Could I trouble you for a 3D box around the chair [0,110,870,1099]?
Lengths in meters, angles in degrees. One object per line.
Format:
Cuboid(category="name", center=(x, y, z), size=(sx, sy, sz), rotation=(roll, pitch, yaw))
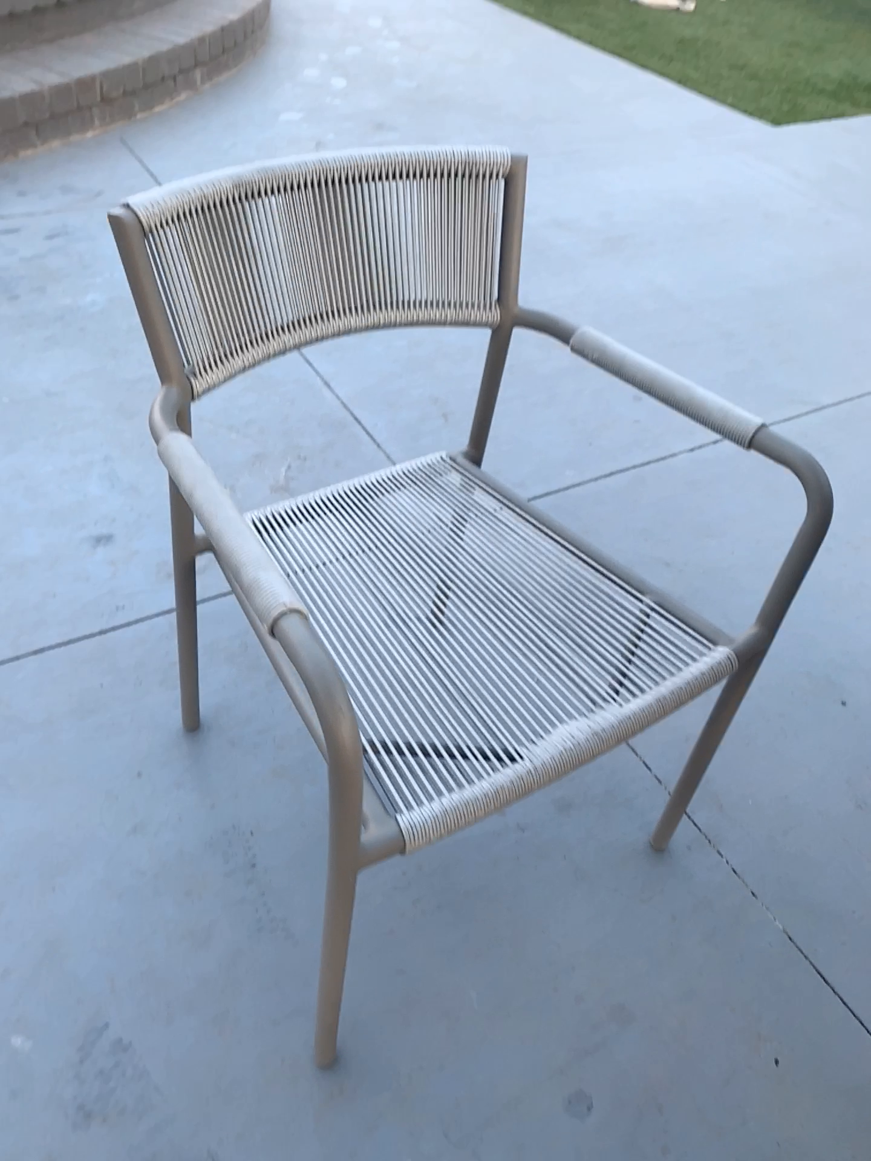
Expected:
Cuboid(category="chair", center=(0.019, -0.007, 1.037), size=(0.671, 0.767, 0.602), rotation=(-23, 51, -28))
